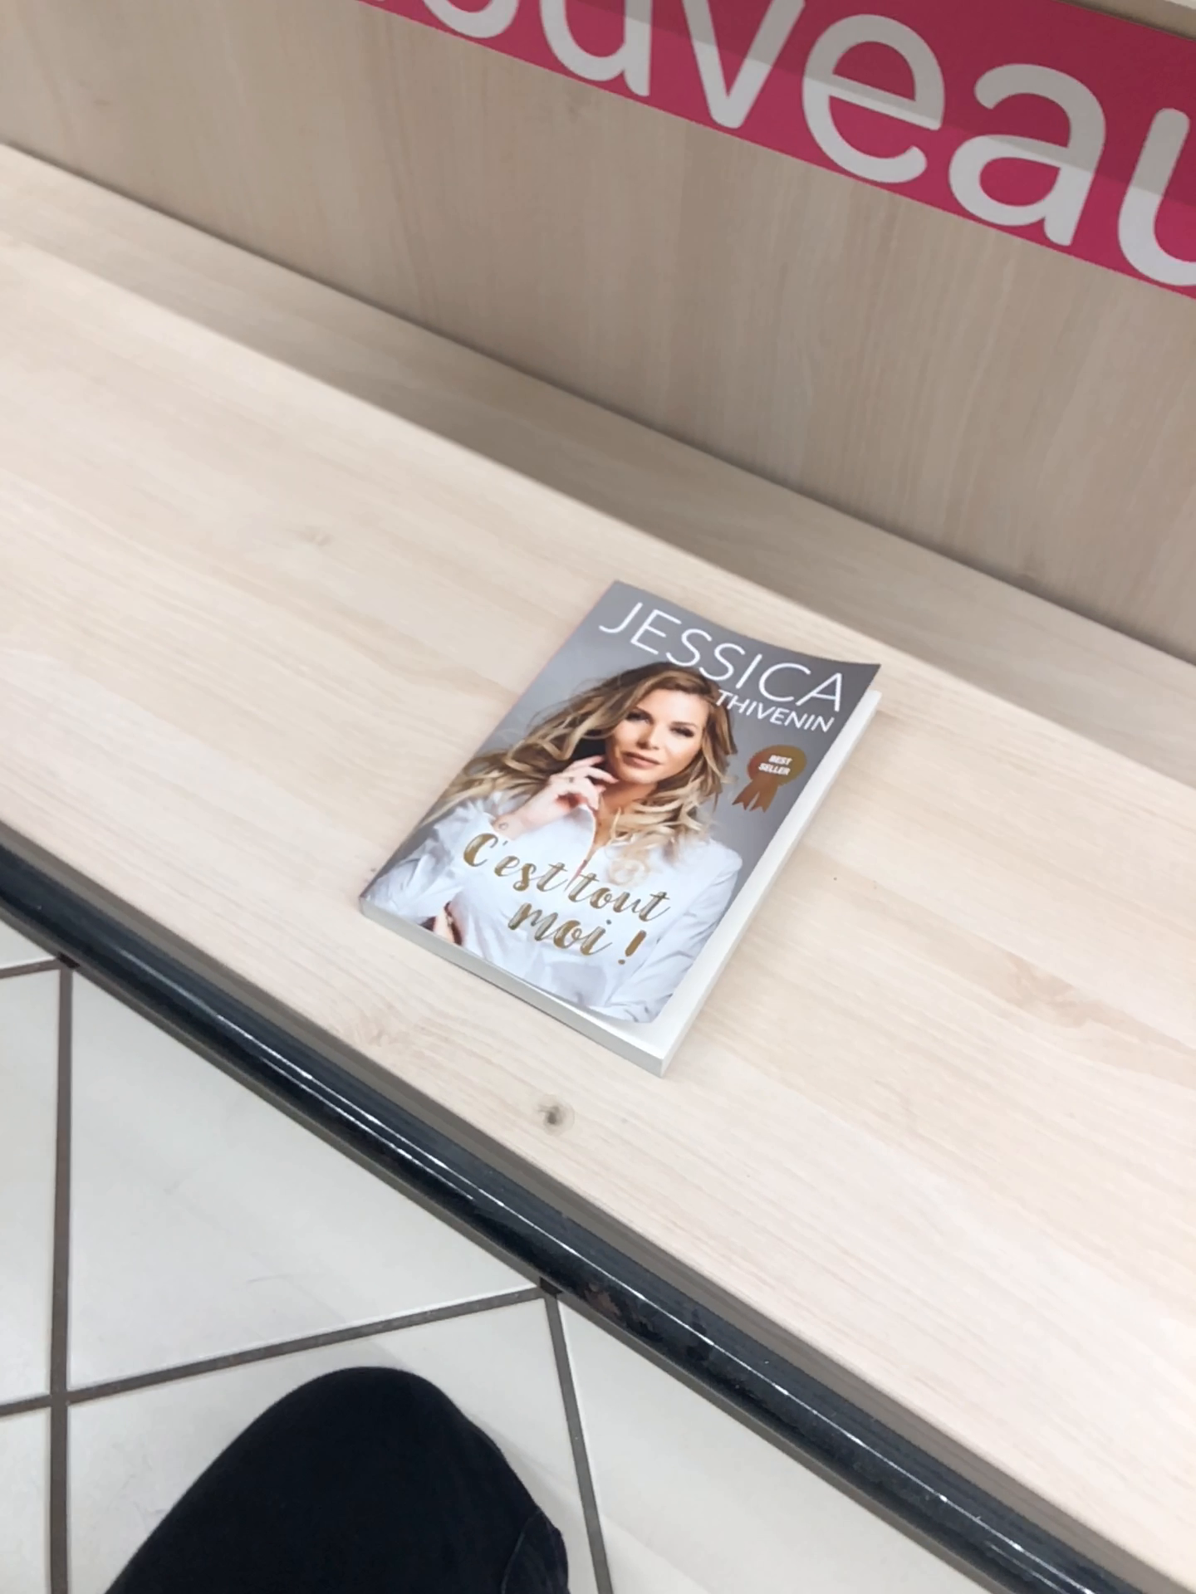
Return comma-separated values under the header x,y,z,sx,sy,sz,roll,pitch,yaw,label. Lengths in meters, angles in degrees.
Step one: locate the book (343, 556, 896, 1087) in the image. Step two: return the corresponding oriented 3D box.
x,y,z,sx,sy,sz,roll,pitch,yaw,label
0.016,-0.003,0.560,0.146,0.020,0.213,26,59,16,book
